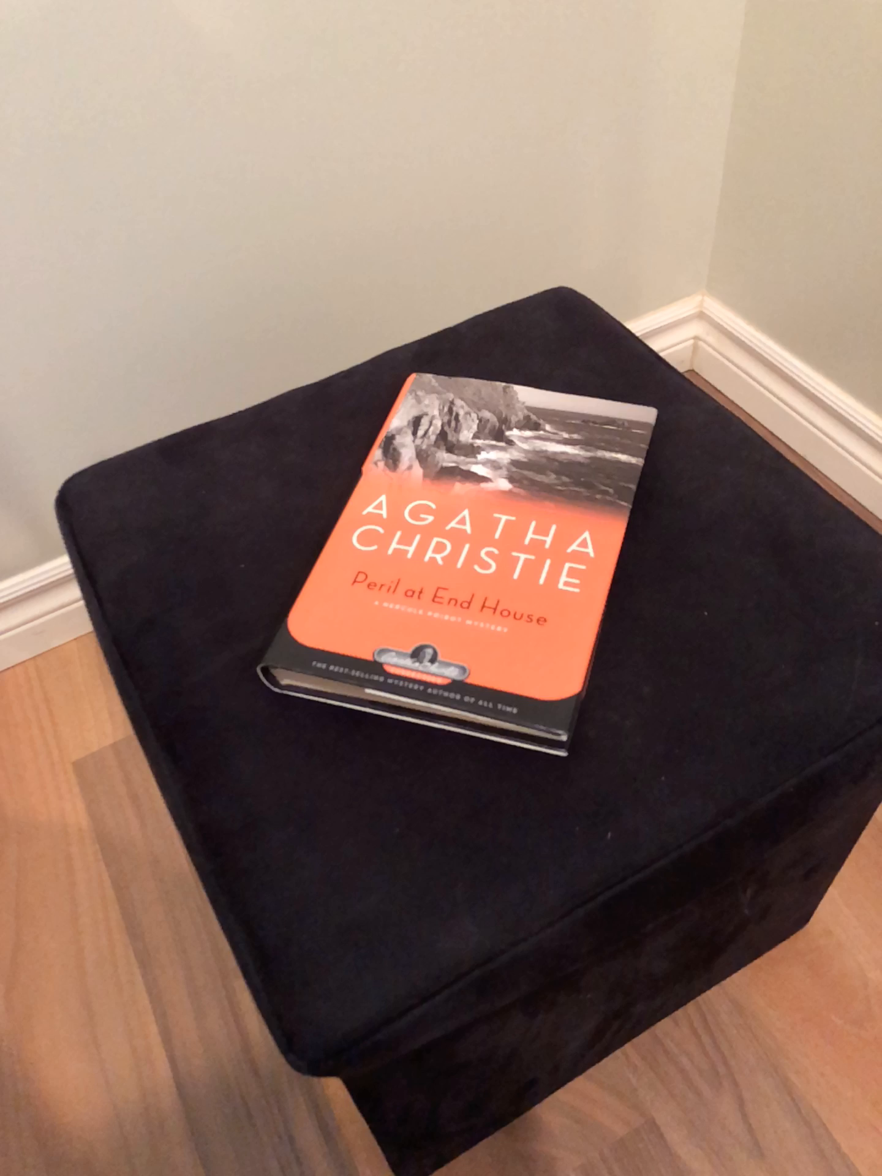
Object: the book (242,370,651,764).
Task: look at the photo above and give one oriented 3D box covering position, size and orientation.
[{"bbox_3d":[0.013,-0.024,0.481,0.146,0.030,0.207,11,52,14],"label":"book"}]
